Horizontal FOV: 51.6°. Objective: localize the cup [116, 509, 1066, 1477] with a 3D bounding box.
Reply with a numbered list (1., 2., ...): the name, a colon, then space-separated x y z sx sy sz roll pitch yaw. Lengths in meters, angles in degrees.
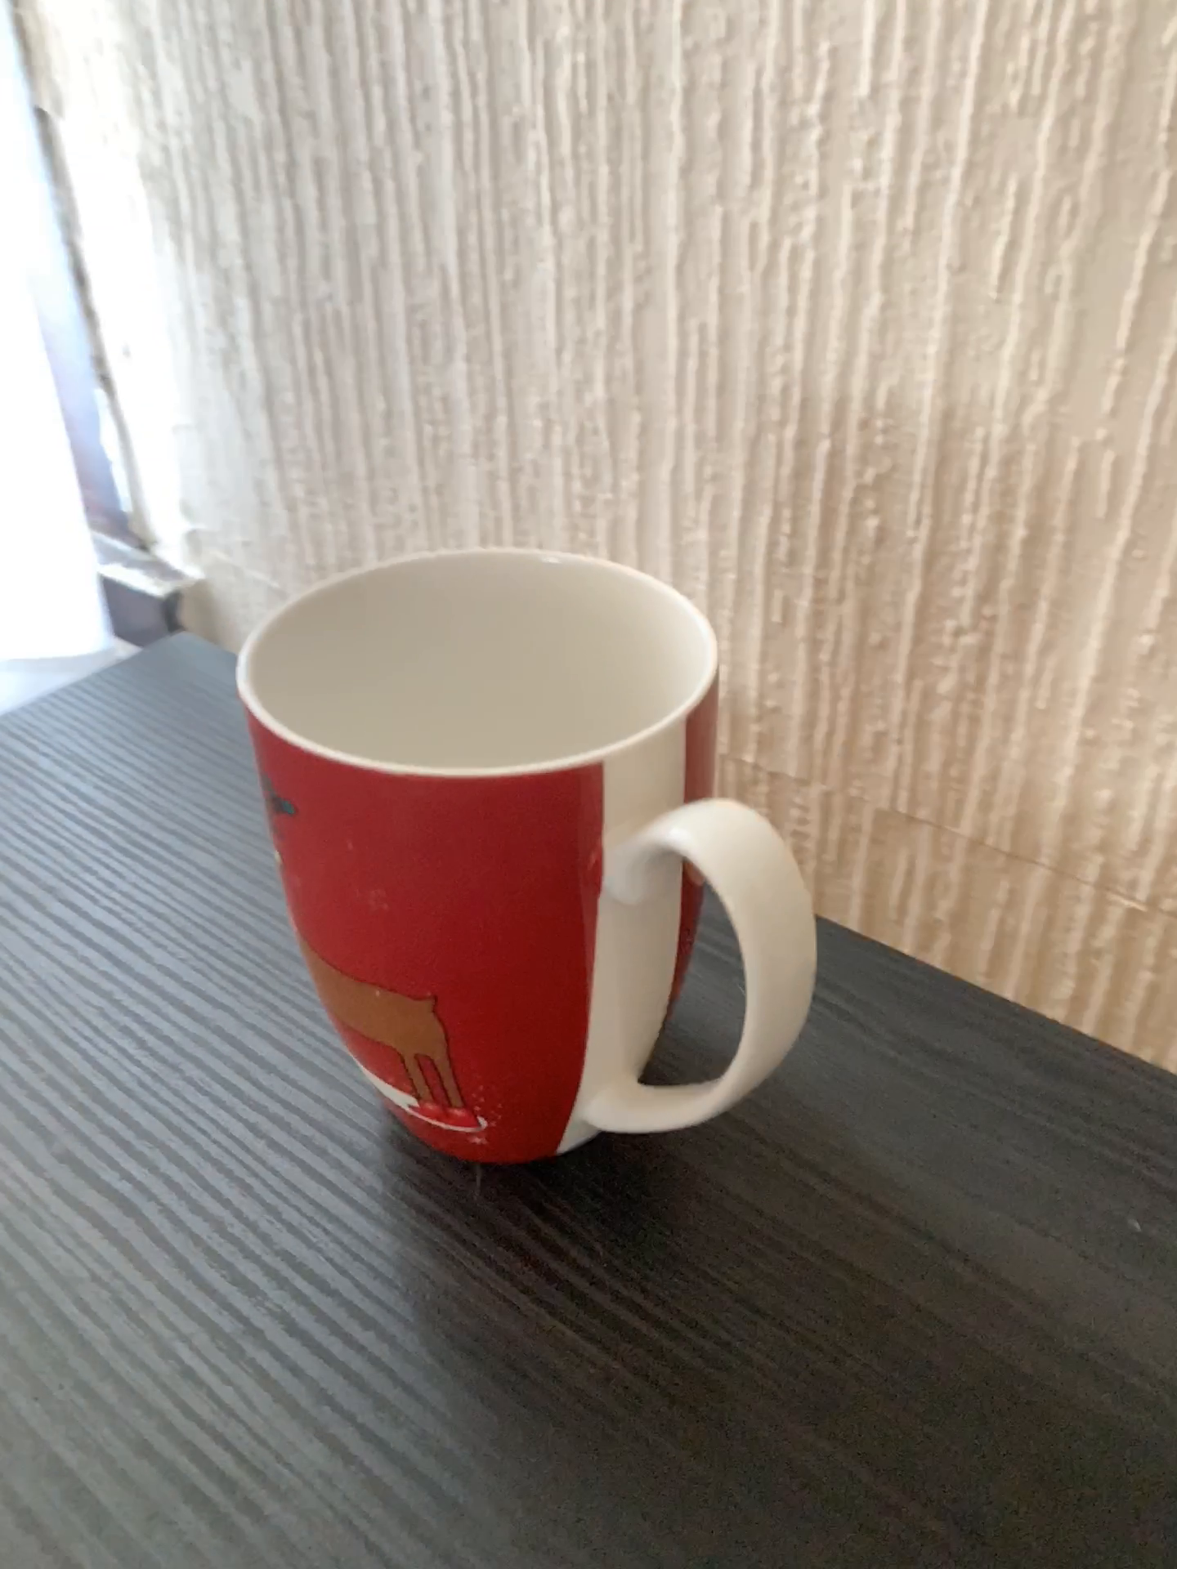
1. cup: -0.005 0.022 0.222 0.090 0.089 0.131 -28 42 -33
